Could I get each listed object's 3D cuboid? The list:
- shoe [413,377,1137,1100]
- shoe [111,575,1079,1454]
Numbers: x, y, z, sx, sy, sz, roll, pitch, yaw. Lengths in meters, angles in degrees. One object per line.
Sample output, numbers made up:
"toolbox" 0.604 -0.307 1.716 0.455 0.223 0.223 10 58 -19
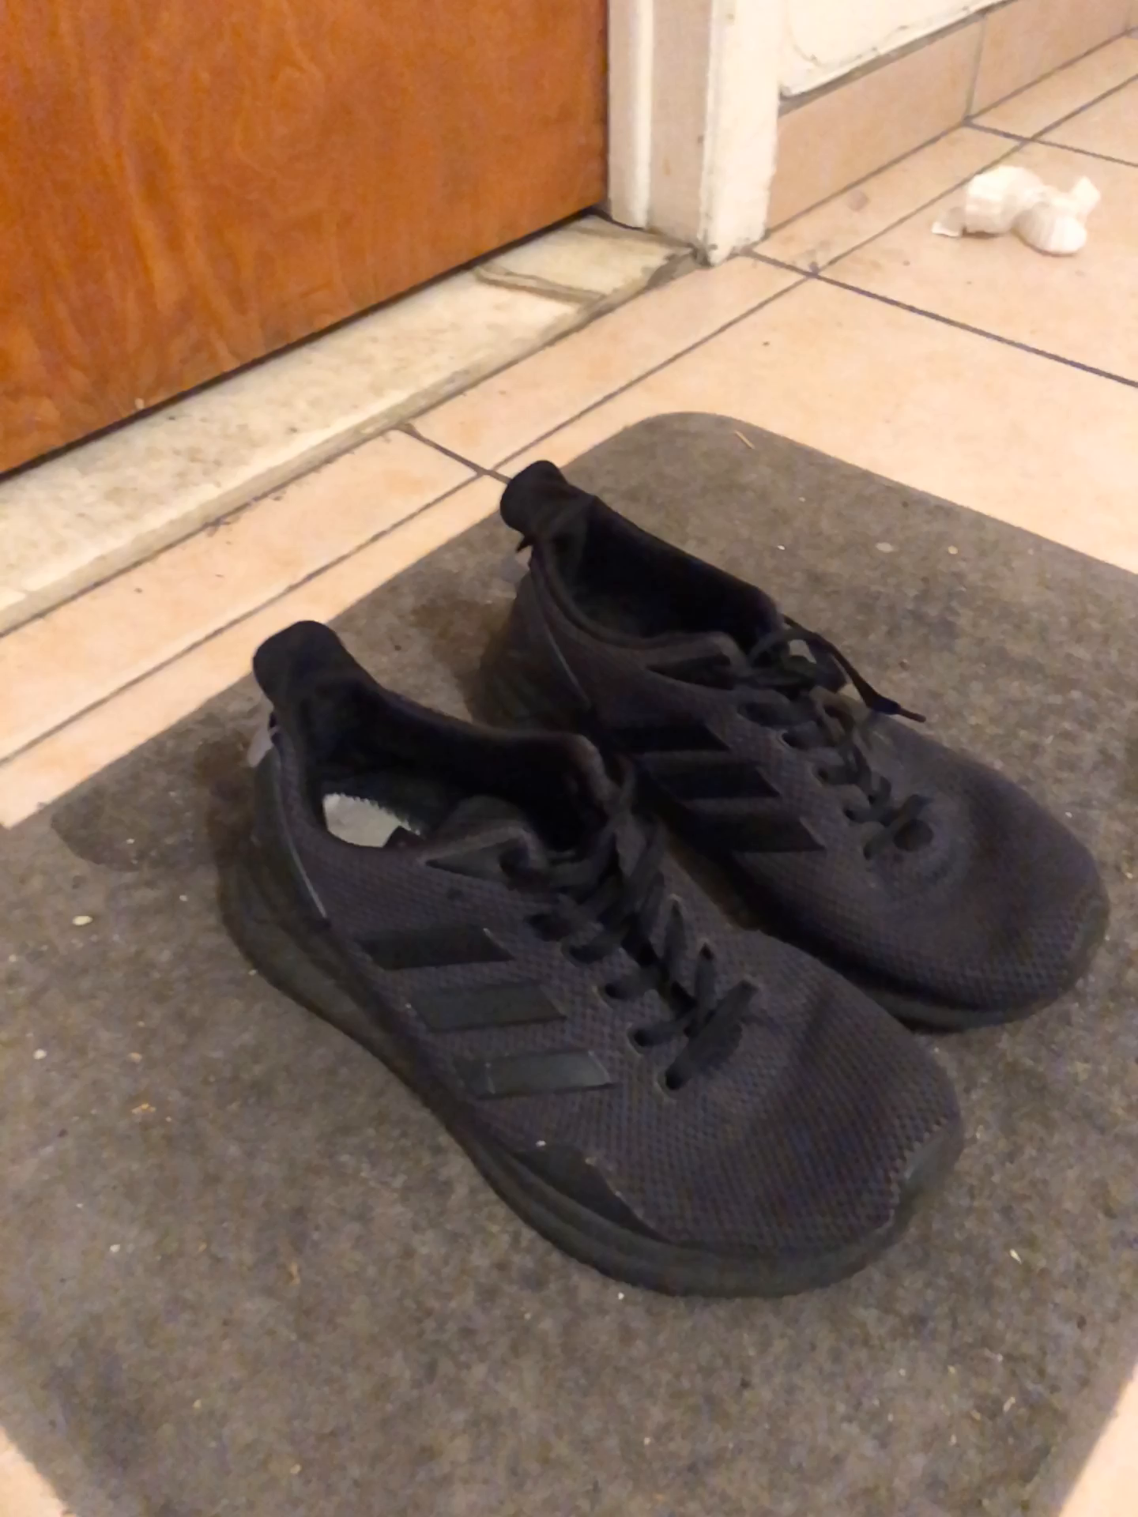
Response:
"shoe" 0.076 -0.022 0.463 0.261 0.119 0.110 34 55 29
"shoe" -0.003 0.063 0.395 0.261 0.119 0.111 28 48 25
